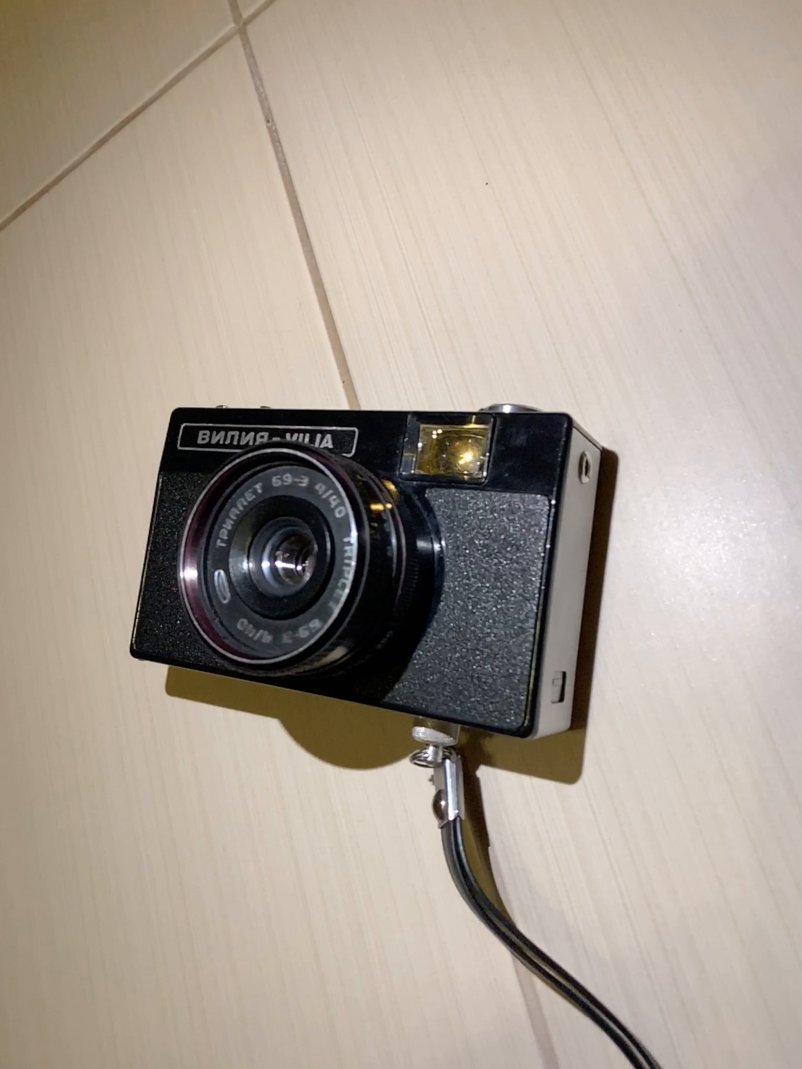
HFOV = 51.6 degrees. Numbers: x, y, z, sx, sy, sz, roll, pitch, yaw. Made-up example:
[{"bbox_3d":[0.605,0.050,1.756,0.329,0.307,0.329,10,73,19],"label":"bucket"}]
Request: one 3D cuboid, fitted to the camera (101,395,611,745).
[{"bbox_3d":[-0.016,0.004,0.220,0.125,0.041,0.073,5,85,31],"label":"camera"}]
